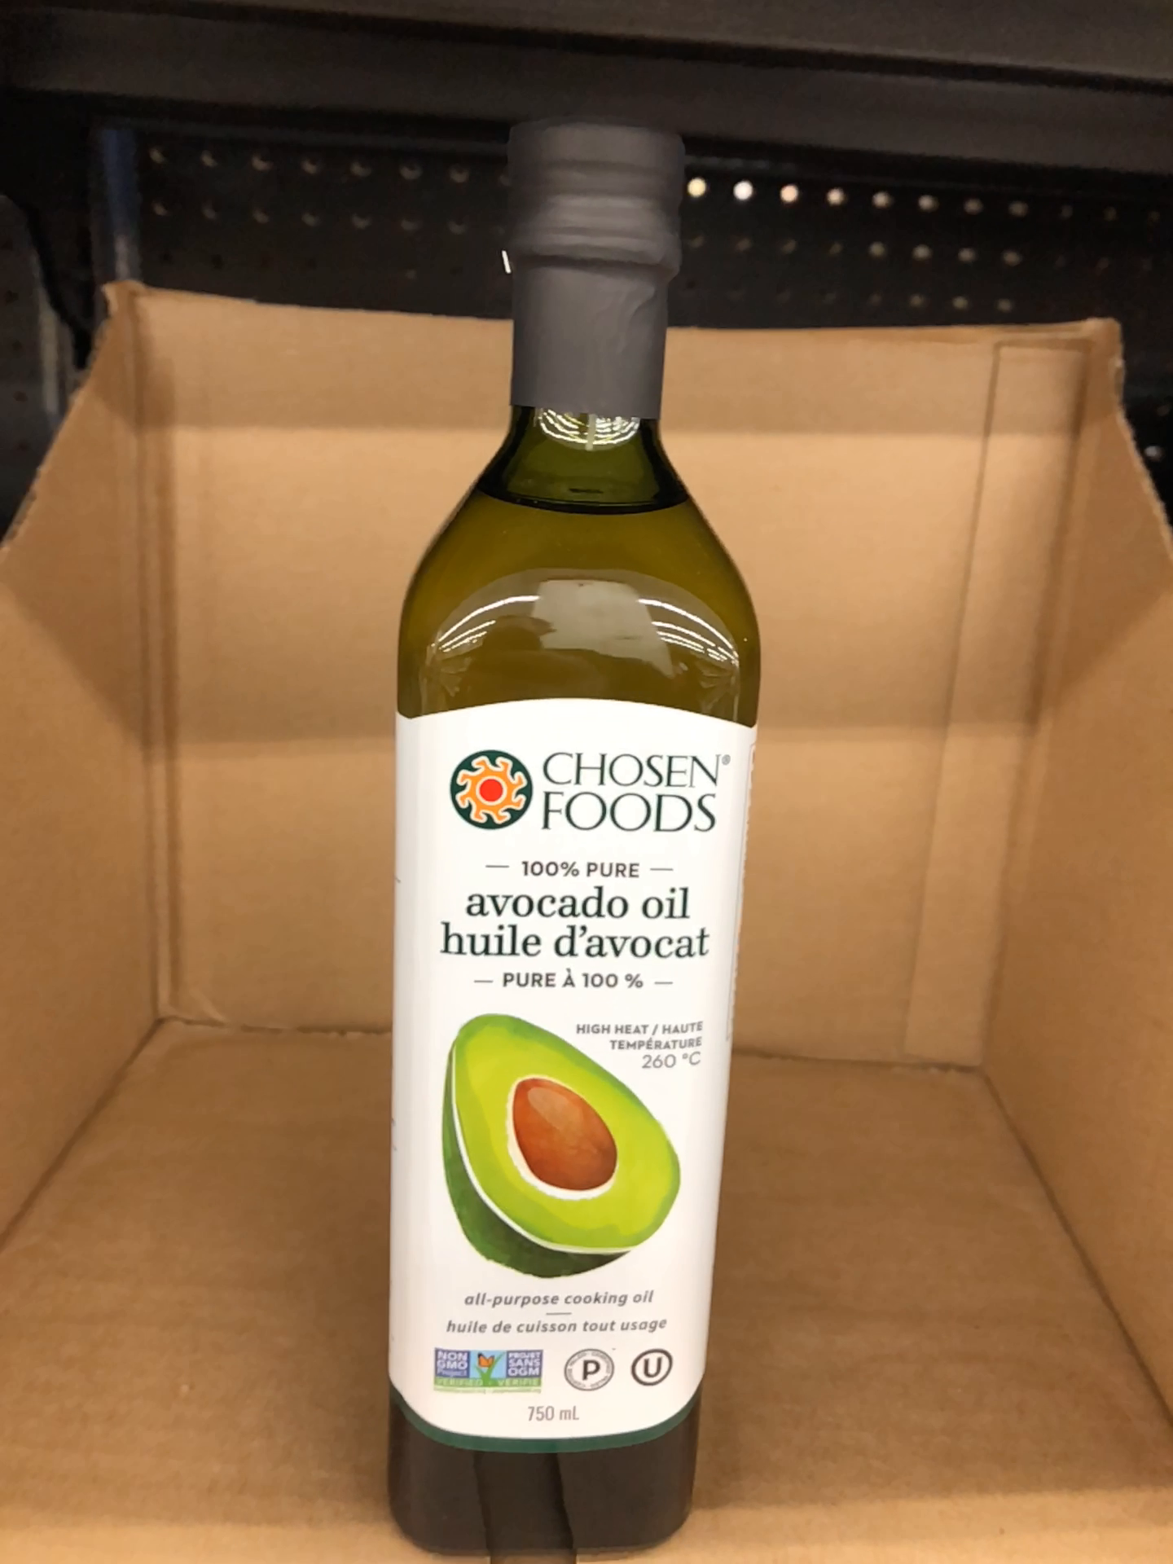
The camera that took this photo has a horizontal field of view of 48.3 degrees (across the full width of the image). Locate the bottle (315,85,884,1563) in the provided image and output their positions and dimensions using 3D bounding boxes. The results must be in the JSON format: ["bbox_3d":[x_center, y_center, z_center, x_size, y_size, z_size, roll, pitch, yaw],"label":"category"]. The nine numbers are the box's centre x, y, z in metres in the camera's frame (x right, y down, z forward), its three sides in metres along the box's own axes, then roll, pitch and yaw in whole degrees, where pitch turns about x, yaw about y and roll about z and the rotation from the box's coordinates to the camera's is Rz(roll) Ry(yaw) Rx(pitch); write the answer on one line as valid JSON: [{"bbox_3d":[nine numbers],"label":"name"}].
[{"bbox_3d":[-0.007,0.028,0.287,0.090,0.308,0.070,1,18,-4],"label":"bottle"}]
